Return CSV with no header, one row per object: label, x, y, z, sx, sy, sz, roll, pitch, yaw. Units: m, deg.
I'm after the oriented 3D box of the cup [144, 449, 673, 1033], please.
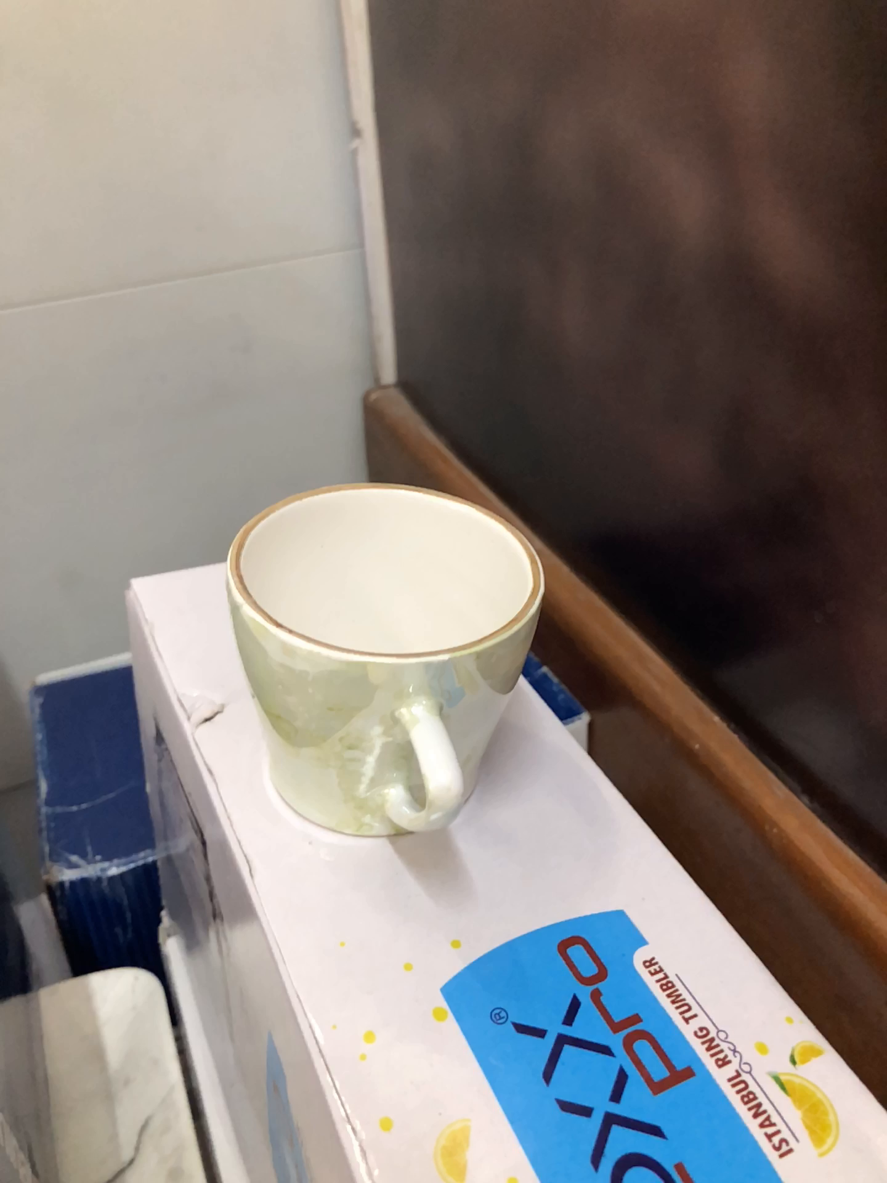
cup,-0.014,0.023,0.218,0.070,0.060,0.100,-15,40,-25
